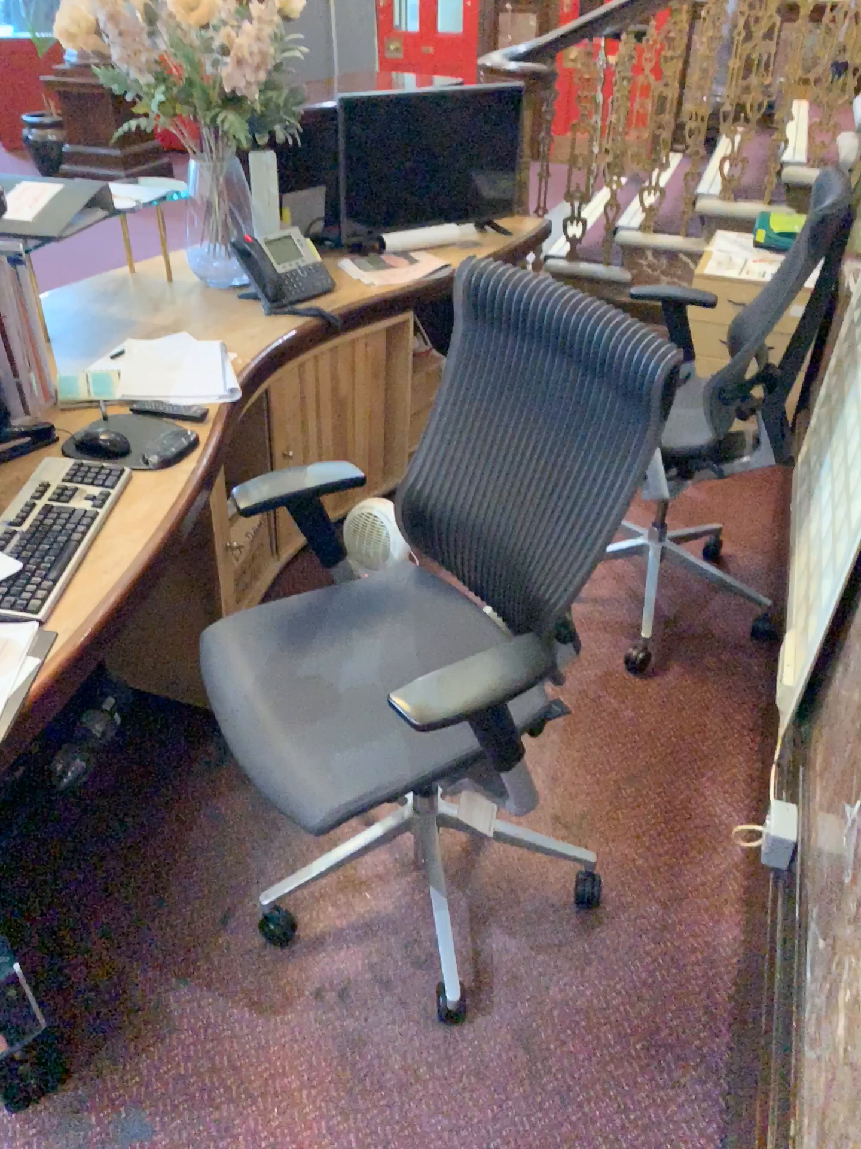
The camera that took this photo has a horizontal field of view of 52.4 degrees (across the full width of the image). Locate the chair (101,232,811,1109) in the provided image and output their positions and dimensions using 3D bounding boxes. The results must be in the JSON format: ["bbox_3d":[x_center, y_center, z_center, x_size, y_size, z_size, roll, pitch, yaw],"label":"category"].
[{"bbox_3d":[-0.018,0.124,1.504,0.691,1.129,0.726,-17,38,-24],"label":"chair"}]
